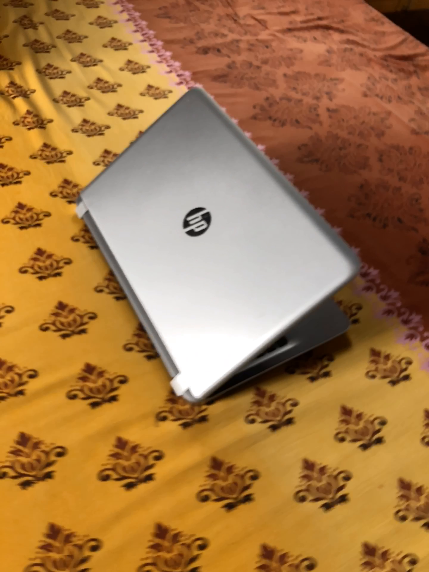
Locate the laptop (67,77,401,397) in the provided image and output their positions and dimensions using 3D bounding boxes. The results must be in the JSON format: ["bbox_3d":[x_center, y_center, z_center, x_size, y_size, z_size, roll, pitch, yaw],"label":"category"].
[{"bbox_3d":[-0.003,-0.091,0.639,0.249,0.155,0.373,-21,58,-22],"label":"laptop"}]
